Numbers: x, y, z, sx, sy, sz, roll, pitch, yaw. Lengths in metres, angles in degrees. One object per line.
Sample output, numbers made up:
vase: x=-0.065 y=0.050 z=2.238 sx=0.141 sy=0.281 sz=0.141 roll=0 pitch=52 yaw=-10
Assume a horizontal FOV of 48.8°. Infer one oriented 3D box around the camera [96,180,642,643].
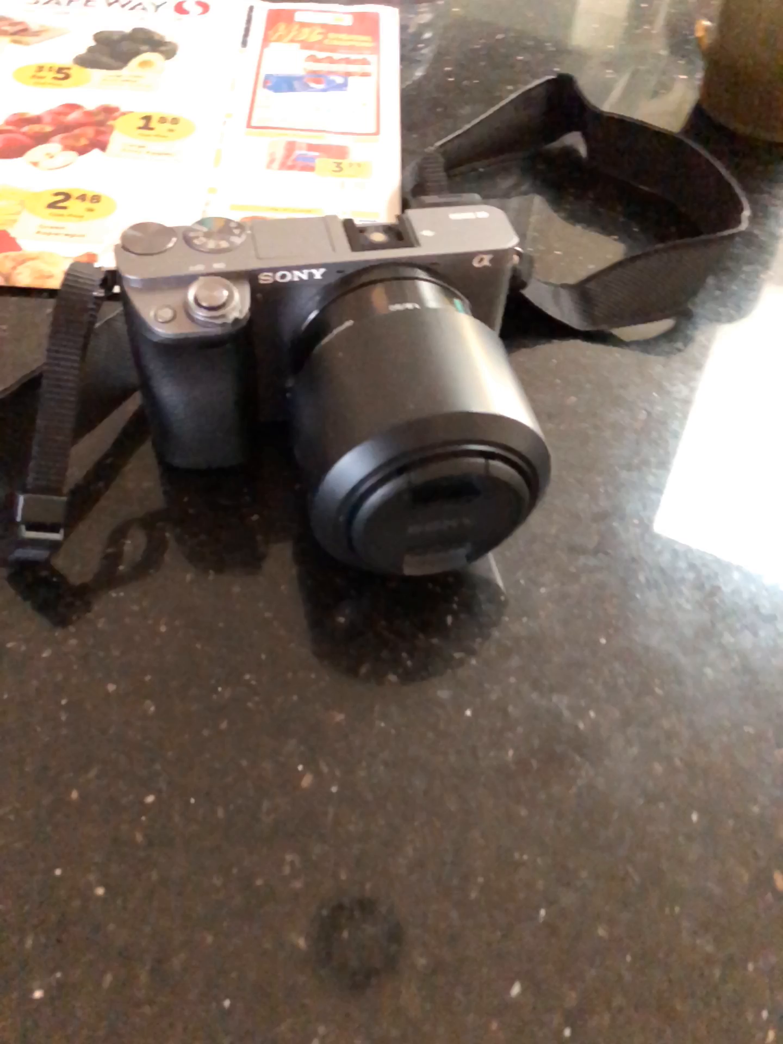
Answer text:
camera: x=-0.015 y=-0.039 z=0.266 sx=0.130 sy=0.070 sz=0.110 roll=-8 pitch=54 yaw=-11
